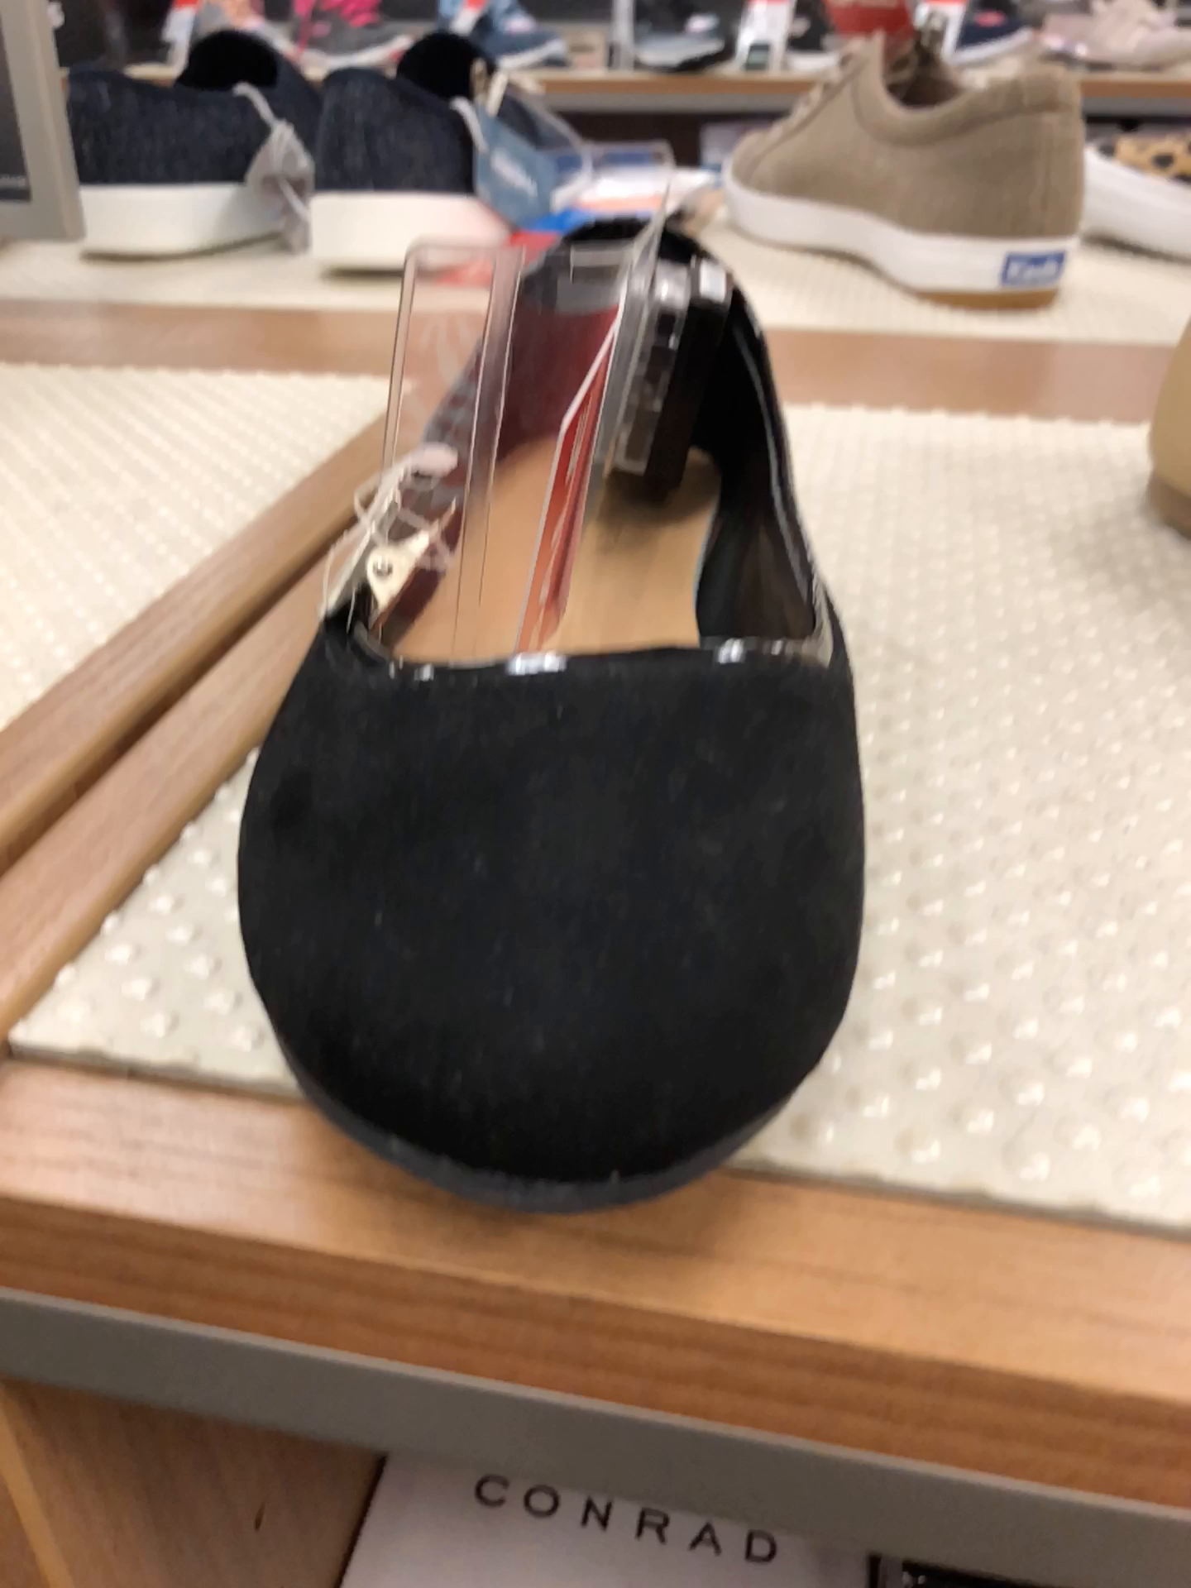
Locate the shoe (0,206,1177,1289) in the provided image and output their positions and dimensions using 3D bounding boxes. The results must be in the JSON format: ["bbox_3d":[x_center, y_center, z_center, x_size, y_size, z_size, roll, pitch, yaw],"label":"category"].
[{"bbox_3d":[0.006,-0.043,0.217,0.091,0.064,0.239,2,31,4],"label":"shoe"}]
